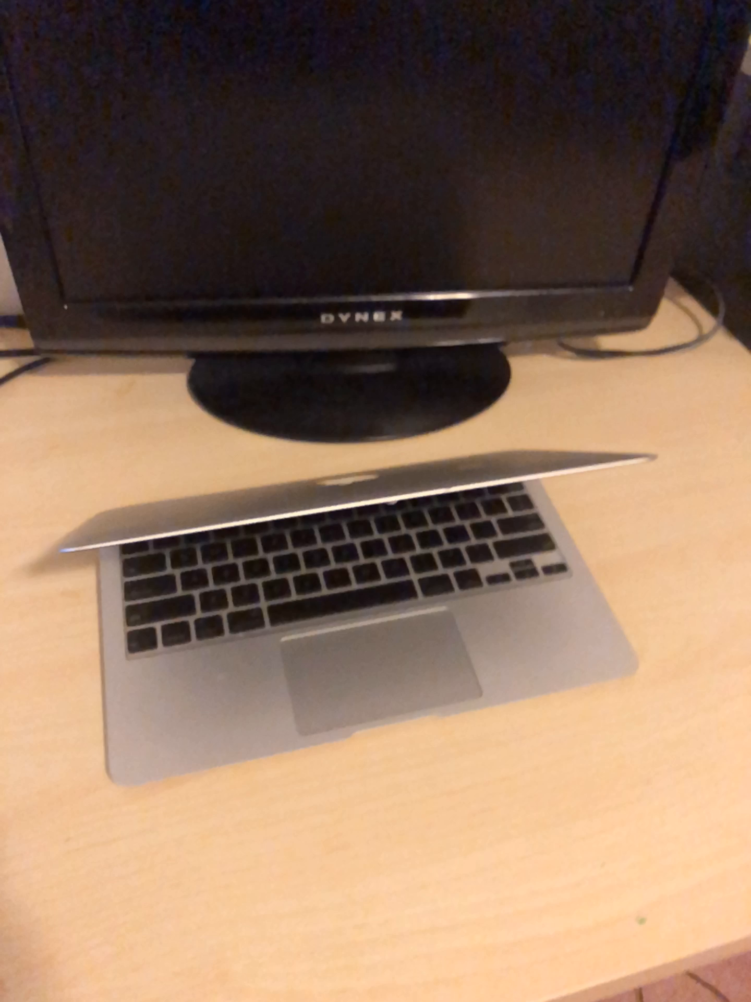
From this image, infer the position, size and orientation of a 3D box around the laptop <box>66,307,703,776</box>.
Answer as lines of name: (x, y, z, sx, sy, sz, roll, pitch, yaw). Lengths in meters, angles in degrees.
laptop: (-0.011, 0.009, 0.470, 0.287, 0.127, 0.190, -9, 45, -12)
